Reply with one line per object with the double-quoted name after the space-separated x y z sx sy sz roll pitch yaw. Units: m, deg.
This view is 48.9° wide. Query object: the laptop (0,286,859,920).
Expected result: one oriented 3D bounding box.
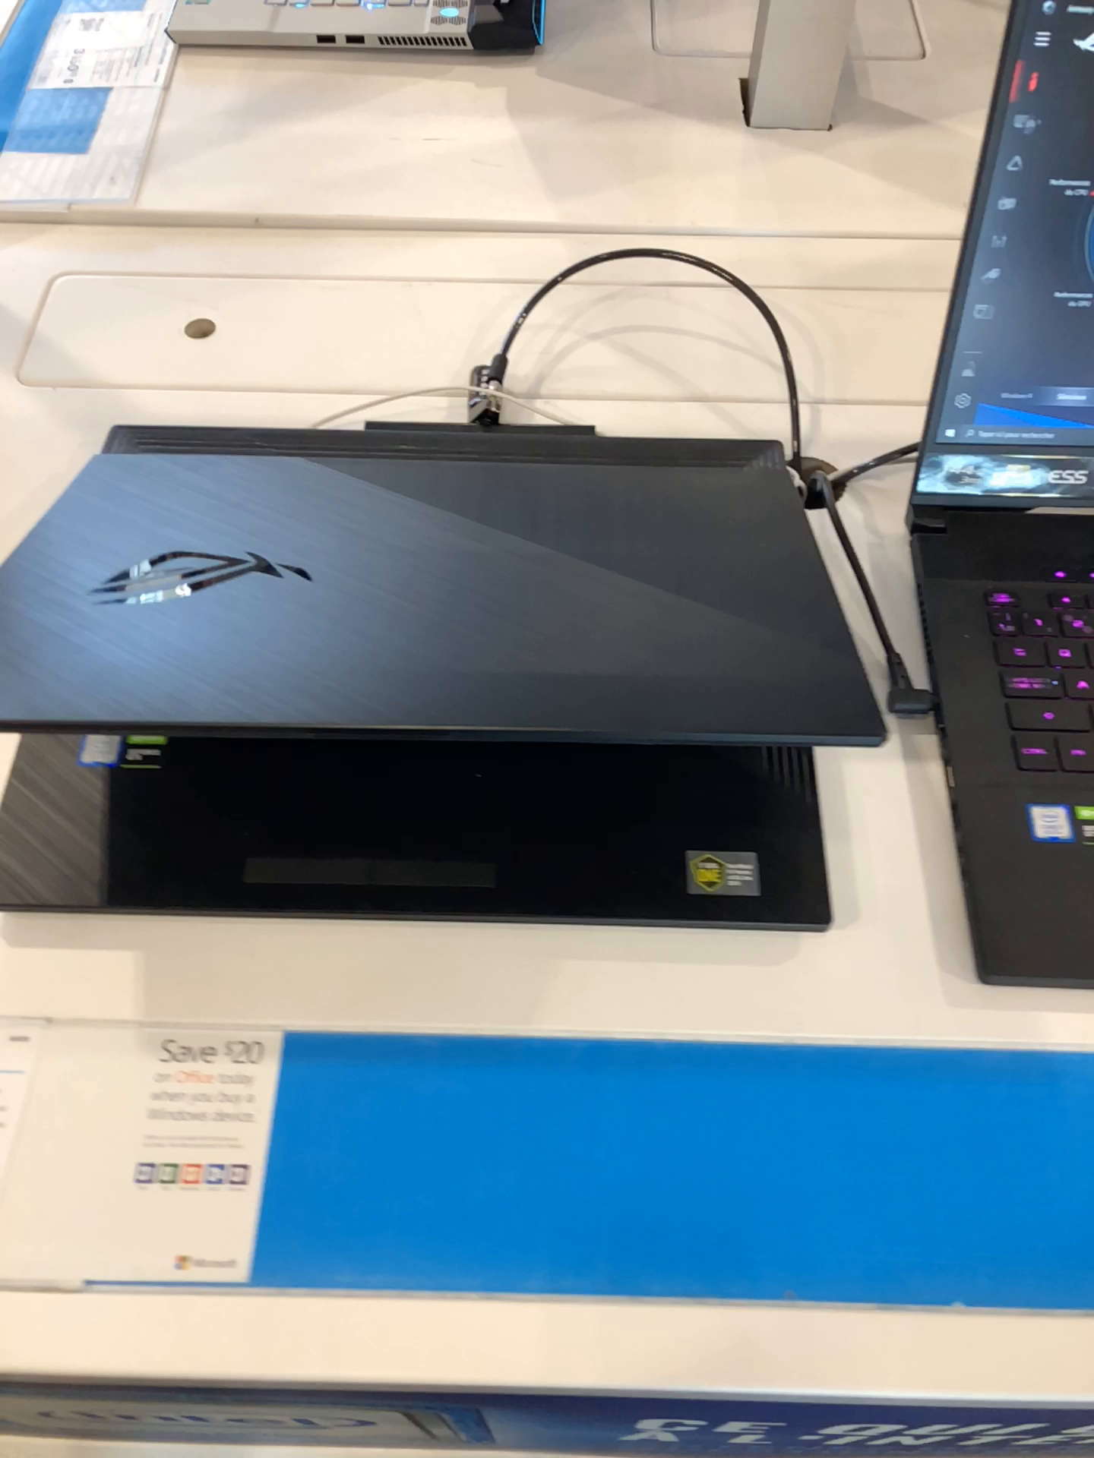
-0.055 -0.063 0.517 0.331 0.097 0.263 1 58 3 "laptop"
